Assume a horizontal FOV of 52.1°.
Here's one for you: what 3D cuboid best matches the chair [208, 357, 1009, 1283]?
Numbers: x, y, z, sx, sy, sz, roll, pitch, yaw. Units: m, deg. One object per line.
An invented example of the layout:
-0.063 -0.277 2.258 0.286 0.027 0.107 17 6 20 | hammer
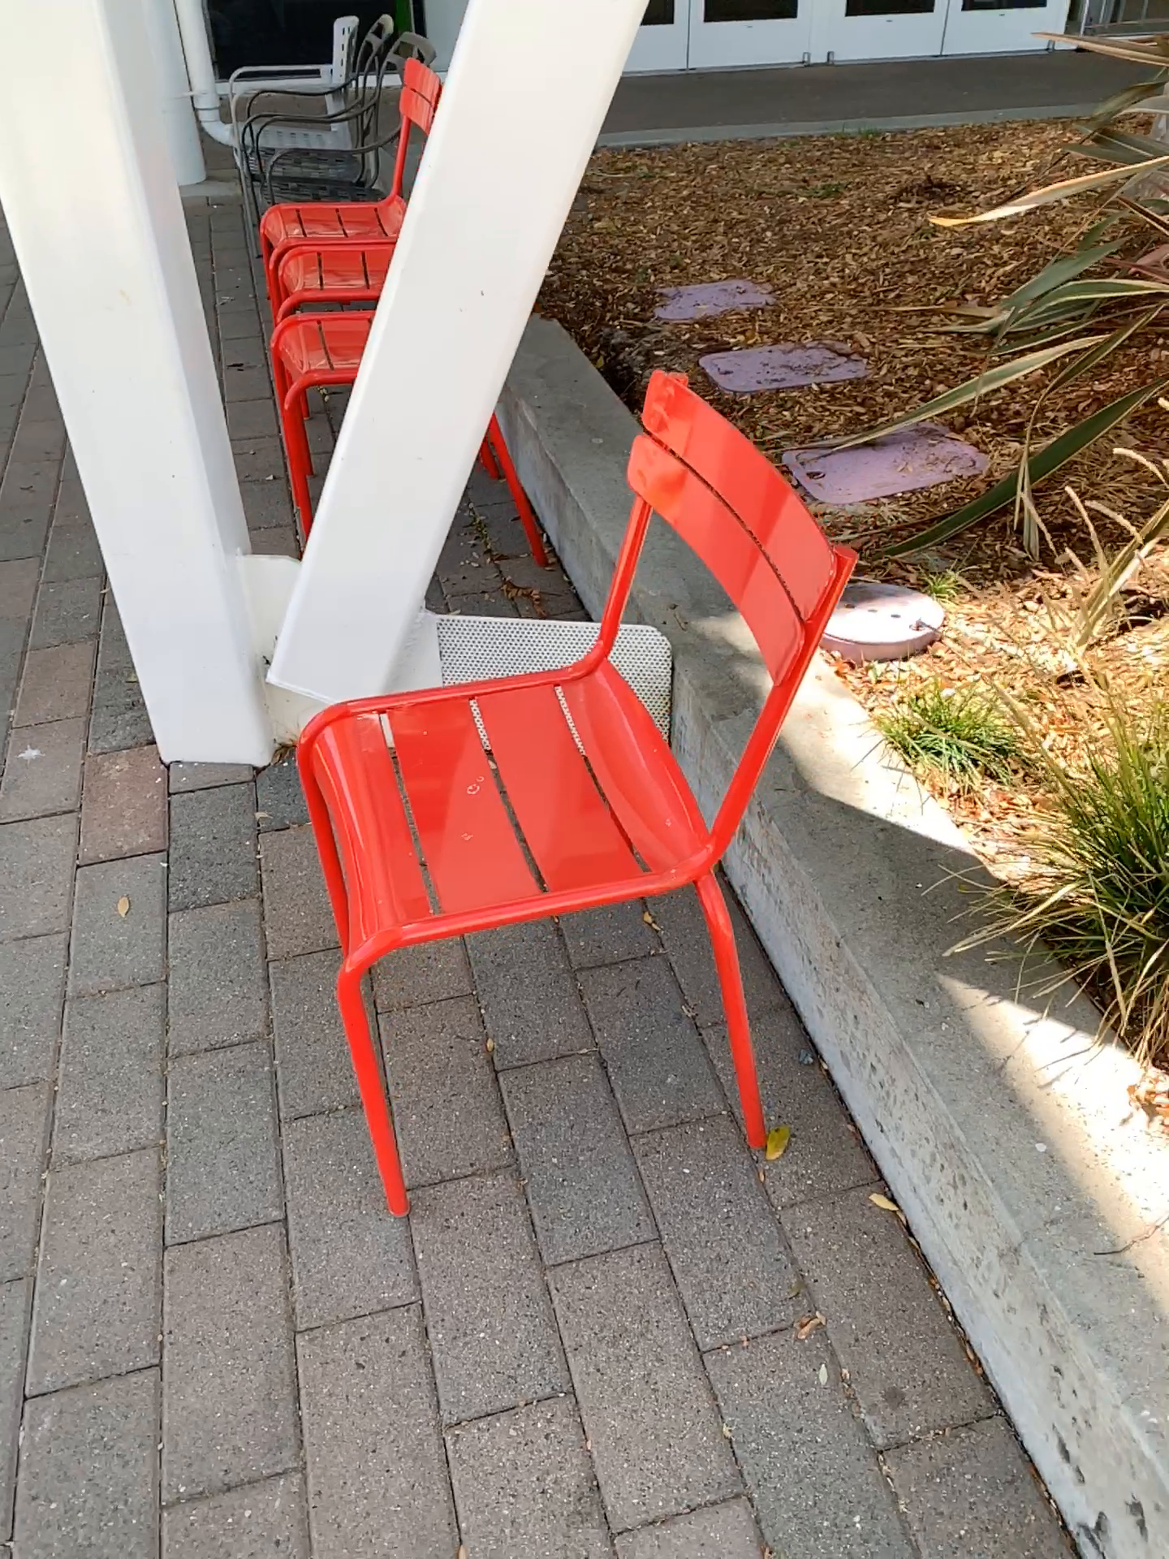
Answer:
-0.025 0.029 1.395 0.630 0.785 0.584 -10 39 -12 | chair
